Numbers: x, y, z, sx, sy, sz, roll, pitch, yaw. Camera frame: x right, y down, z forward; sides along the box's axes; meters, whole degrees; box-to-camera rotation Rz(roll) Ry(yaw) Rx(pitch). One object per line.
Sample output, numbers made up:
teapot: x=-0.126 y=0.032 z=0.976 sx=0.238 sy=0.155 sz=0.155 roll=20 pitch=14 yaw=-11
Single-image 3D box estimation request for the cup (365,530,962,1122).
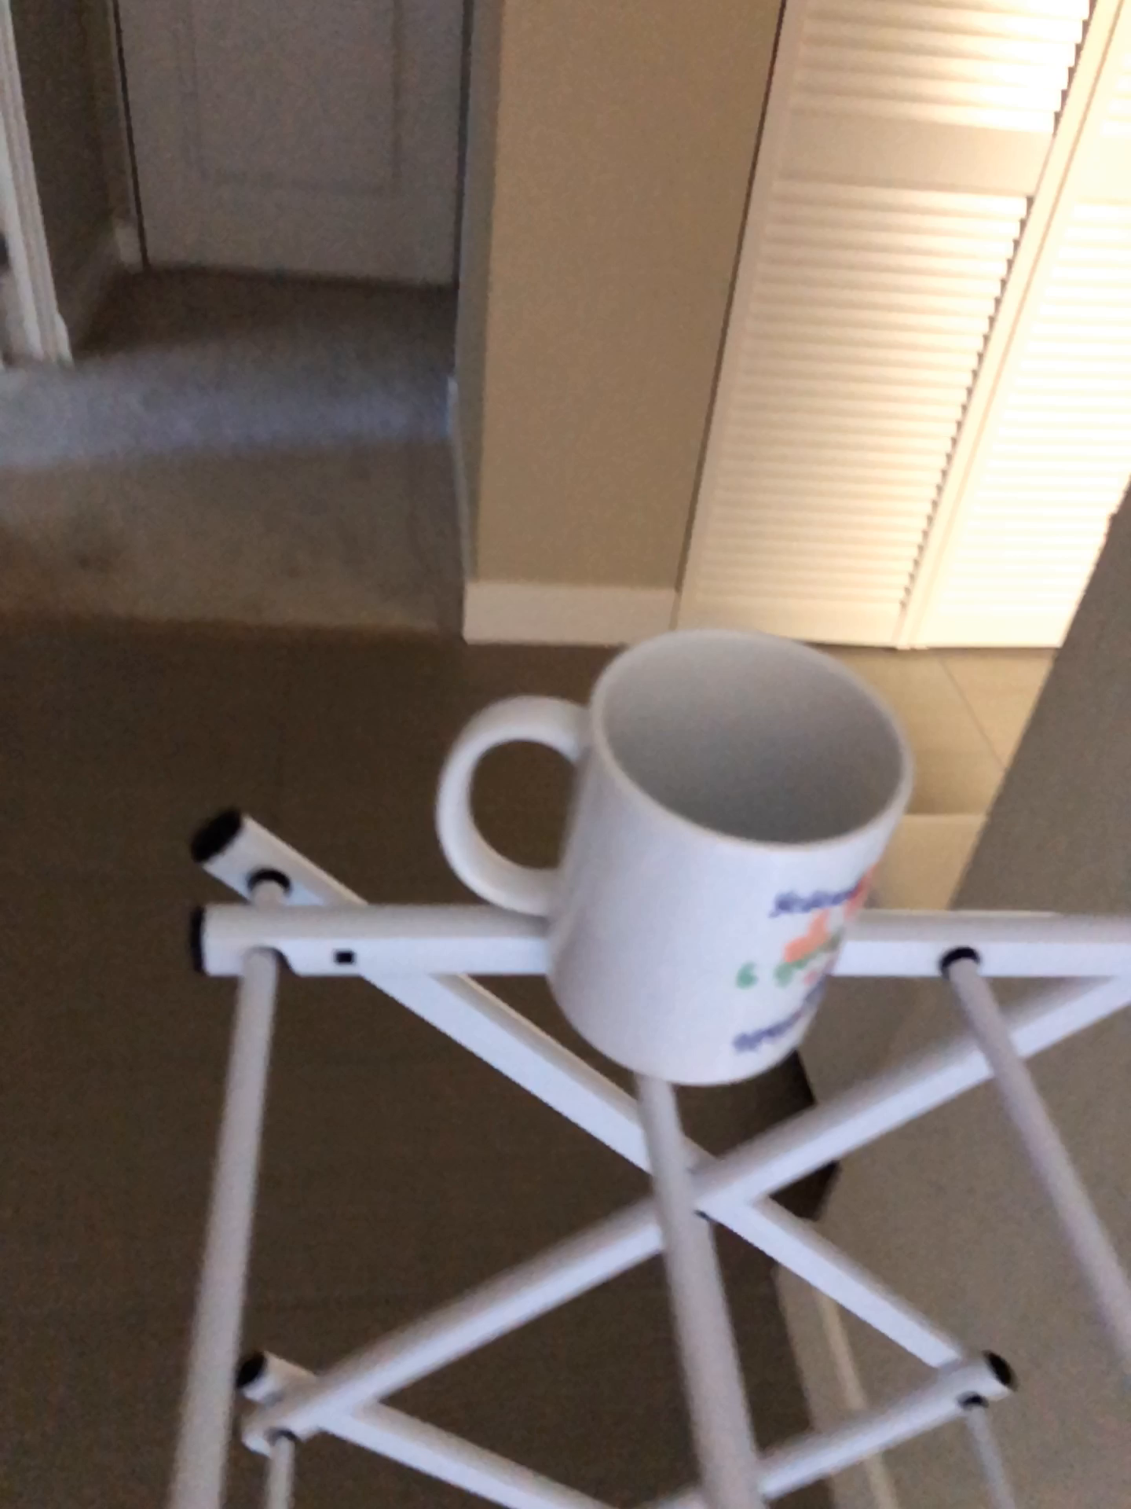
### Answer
cup: x=0.025 y=0.017 z=0.338 sx=0.130 sy=0.090 sz=0.090 roll=17 pitch=43 yaw=6
